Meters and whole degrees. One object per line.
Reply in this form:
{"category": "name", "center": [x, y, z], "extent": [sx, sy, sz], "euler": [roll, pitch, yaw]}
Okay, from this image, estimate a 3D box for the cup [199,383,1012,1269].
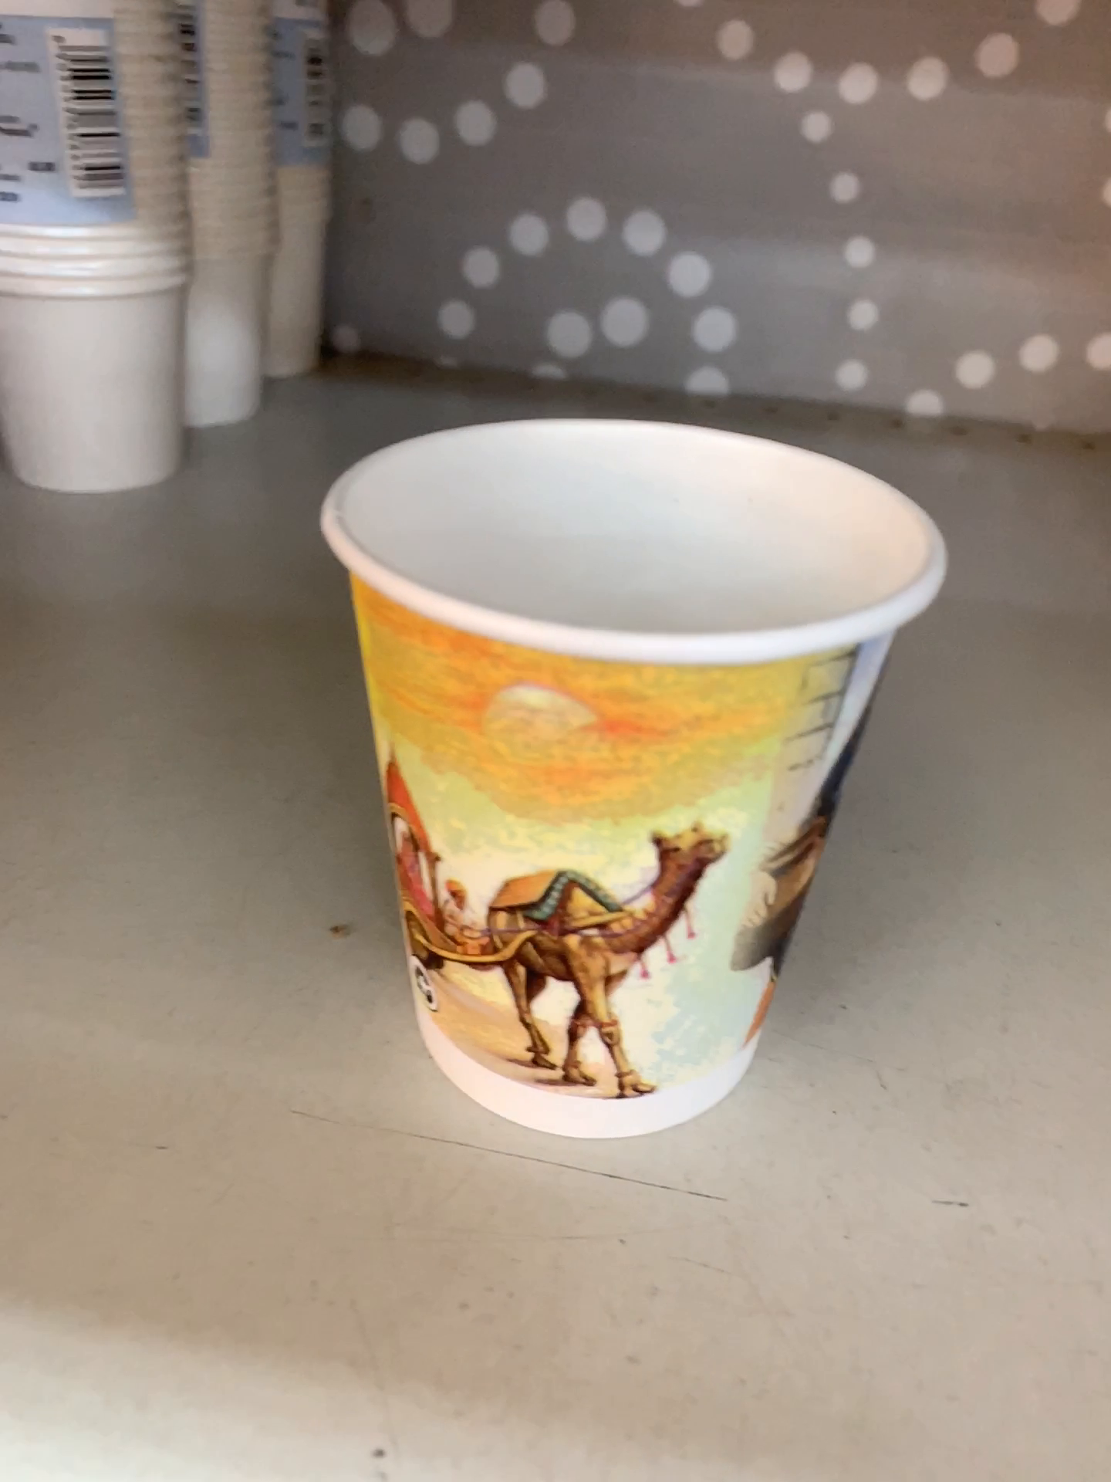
{"category": "cup", "center": [0.005, 0.006, 0.150], "extent": [0.070, 0.079, 0.071], "euler": [3, 30, -2]}
